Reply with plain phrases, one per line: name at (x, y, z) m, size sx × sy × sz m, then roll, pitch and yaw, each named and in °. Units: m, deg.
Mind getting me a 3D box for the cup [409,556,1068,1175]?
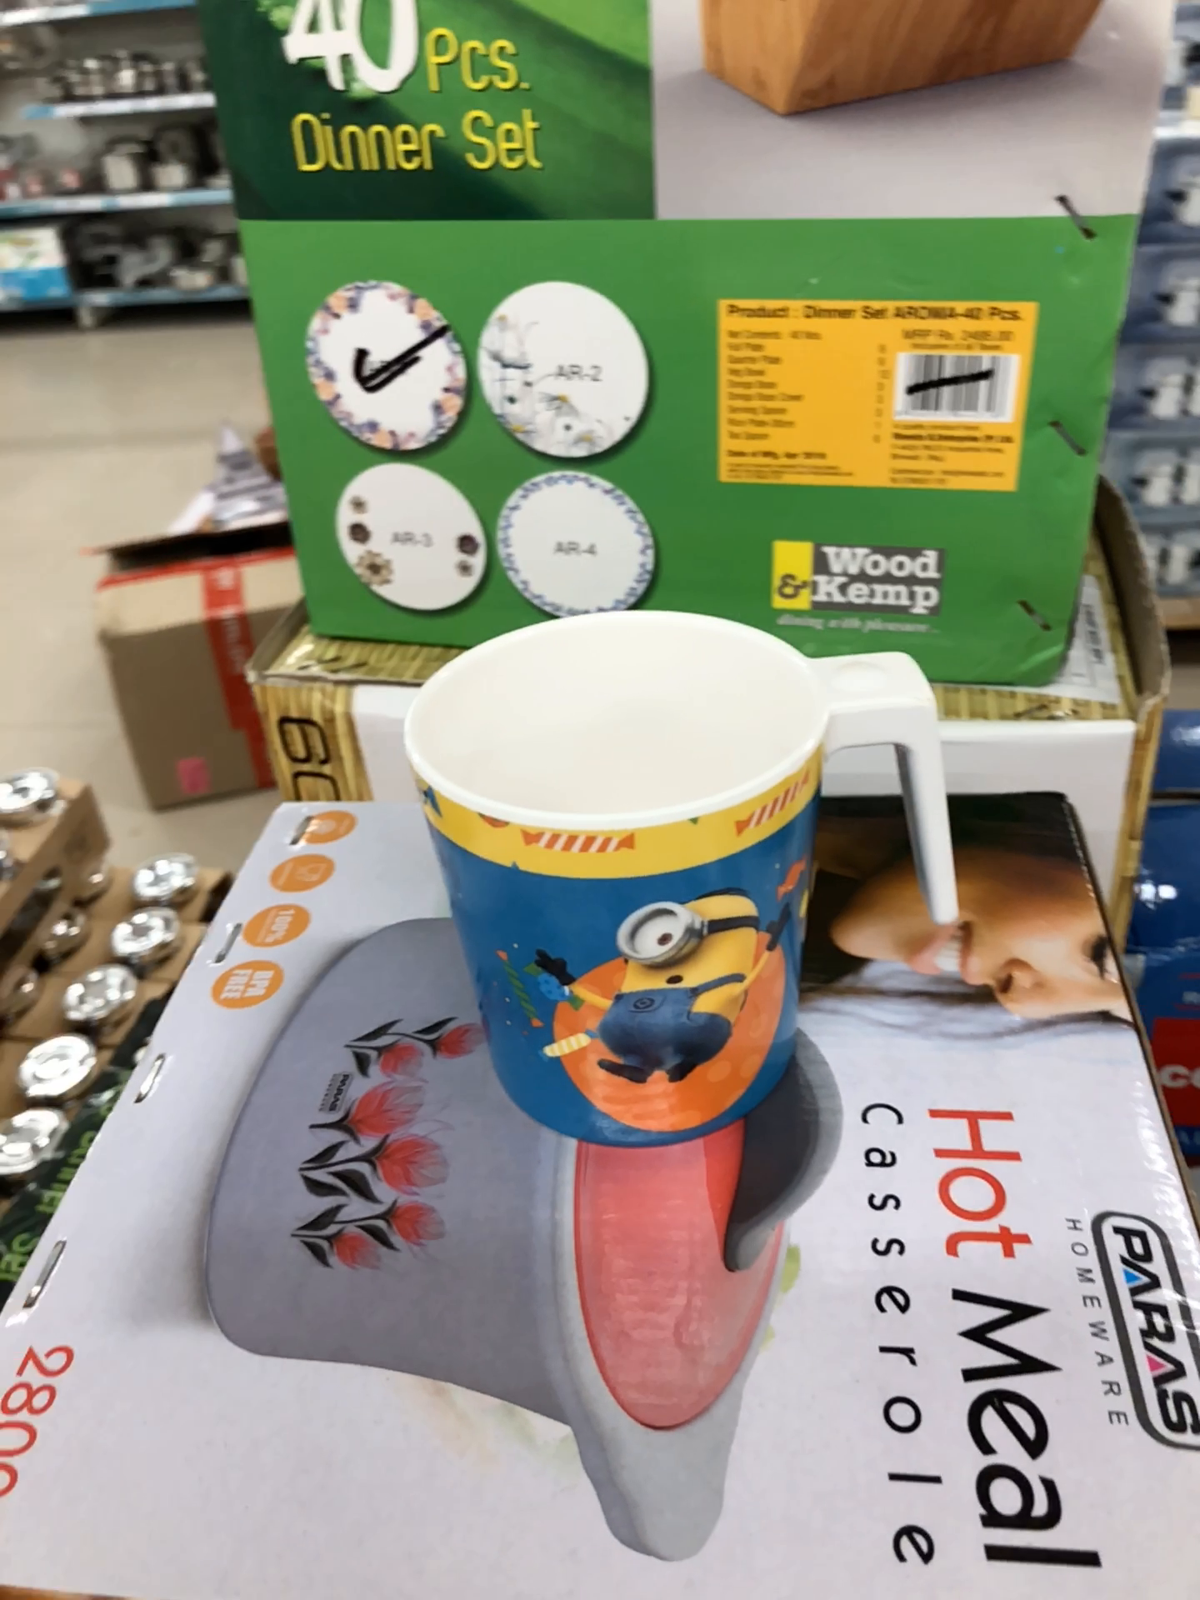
cup at (0.023, 0.010, 0.276) m, size 0.110 × 0.079 × 0.080 m, roll -9°, pitch 33°, yaw -4°
